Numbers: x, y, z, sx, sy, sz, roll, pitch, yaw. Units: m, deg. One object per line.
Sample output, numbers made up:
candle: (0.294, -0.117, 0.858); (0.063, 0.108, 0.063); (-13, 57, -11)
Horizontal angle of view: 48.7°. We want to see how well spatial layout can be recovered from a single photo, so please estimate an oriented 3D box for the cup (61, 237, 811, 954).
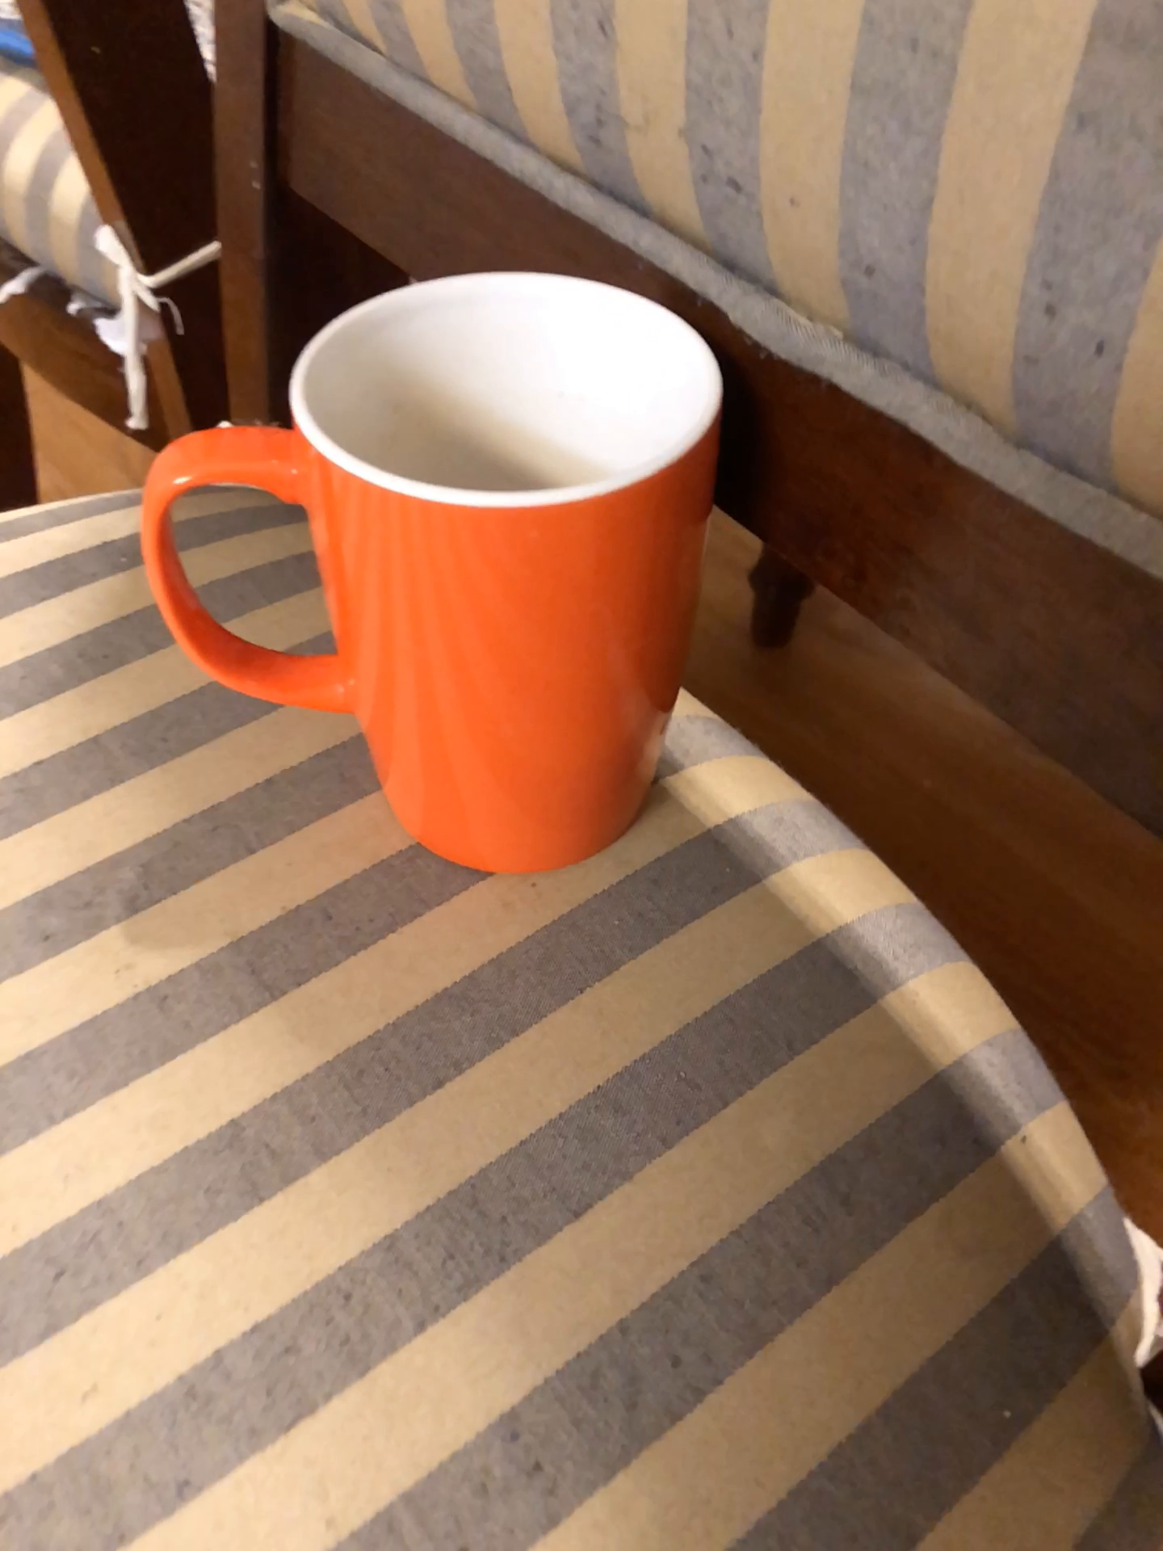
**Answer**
cup: (-0.031, -0.038, 0.270); (0.120, 0.099, 0.091); (-9, 49, -9)
